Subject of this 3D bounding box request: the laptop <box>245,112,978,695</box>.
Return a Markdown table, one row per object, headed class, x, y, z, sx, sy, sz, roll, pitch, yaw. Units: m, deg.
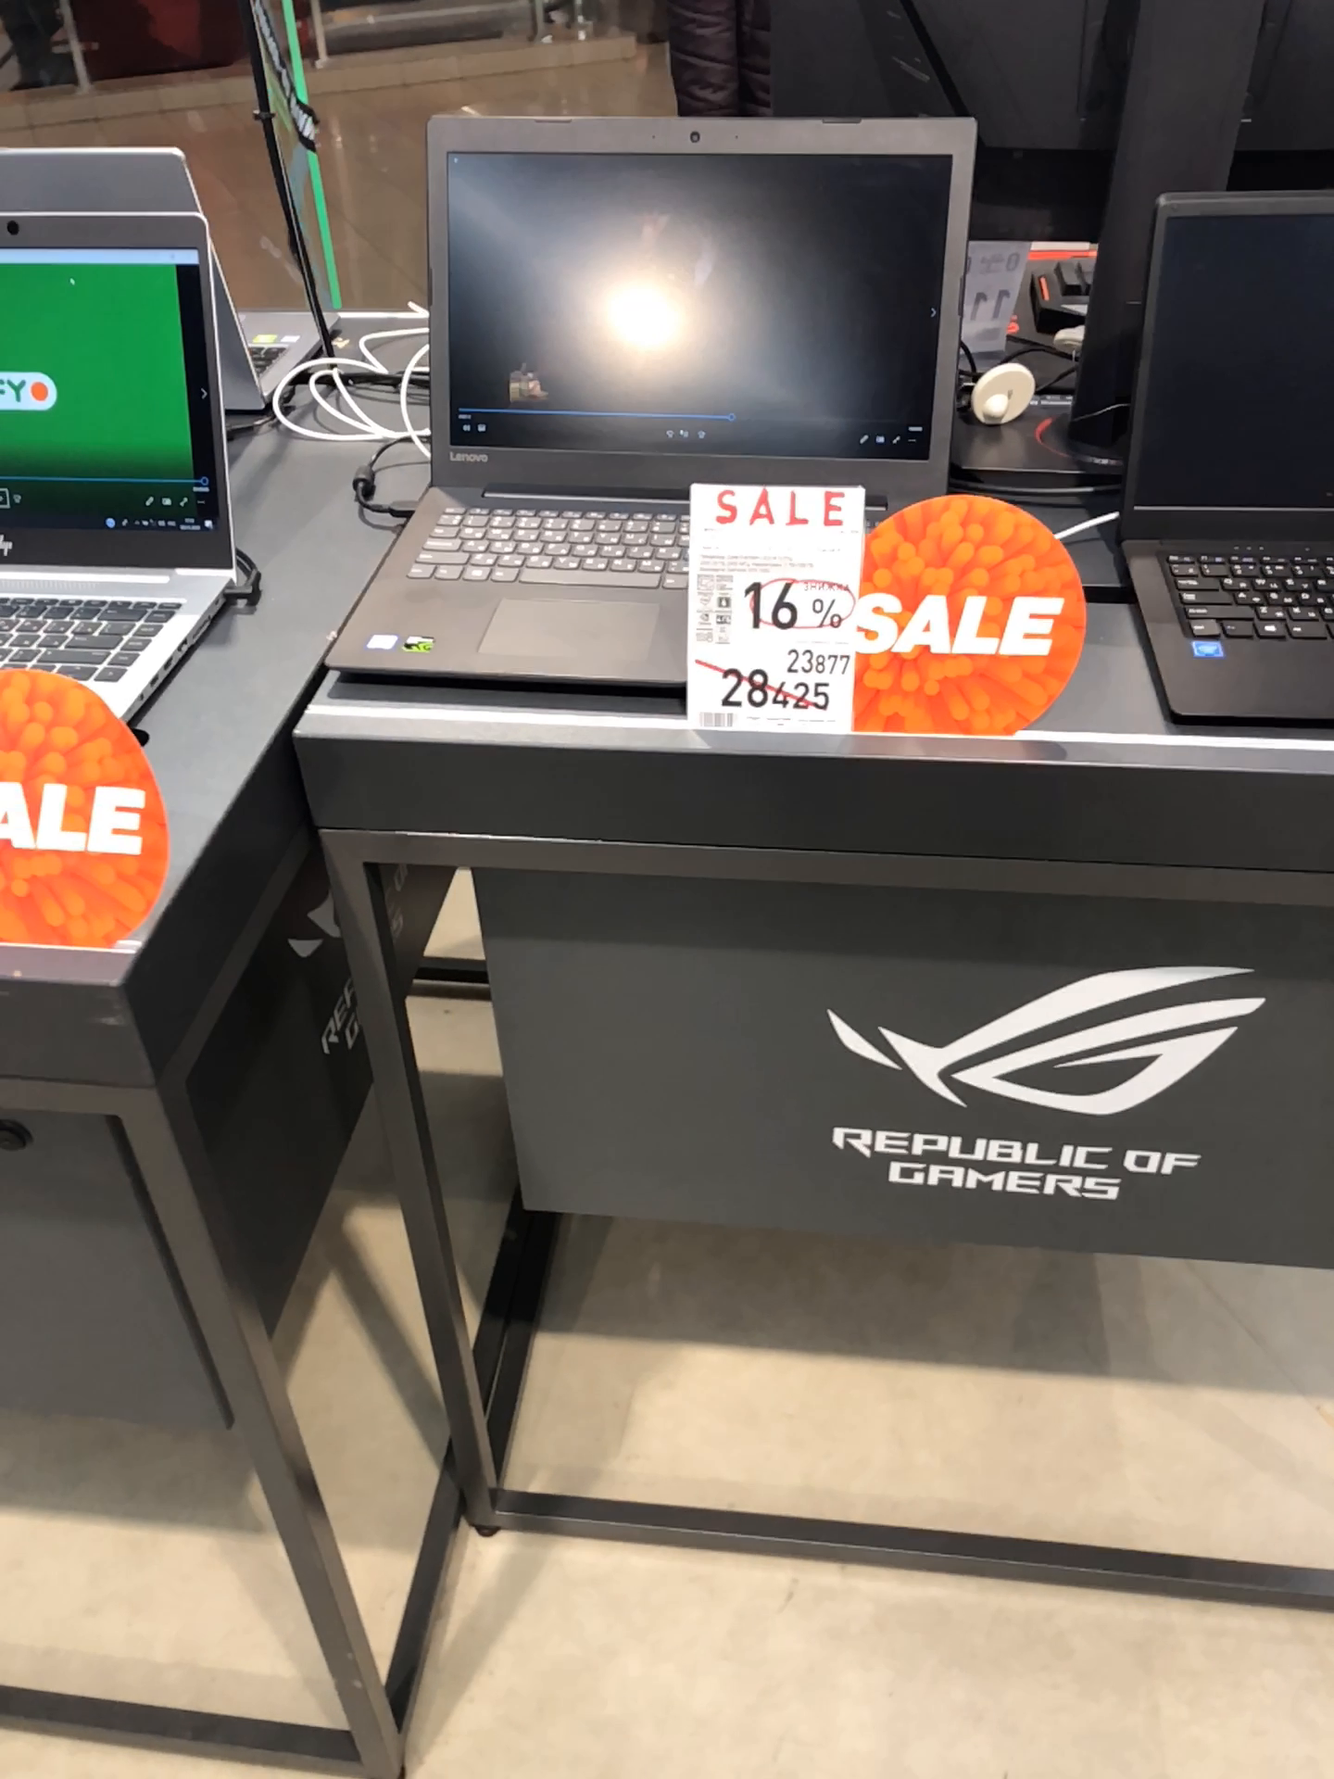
| class | x | y | z | sx | sy | sz | roll | pitch | yaw |
| --- | --- | --- | --- | --- | --- | --- | --- | --- | --- |
| laptop | -0.006 | -0.330 | 0.950 | 0.382 | 0.235 | 0.336 | 4 | 40 | 8 |
